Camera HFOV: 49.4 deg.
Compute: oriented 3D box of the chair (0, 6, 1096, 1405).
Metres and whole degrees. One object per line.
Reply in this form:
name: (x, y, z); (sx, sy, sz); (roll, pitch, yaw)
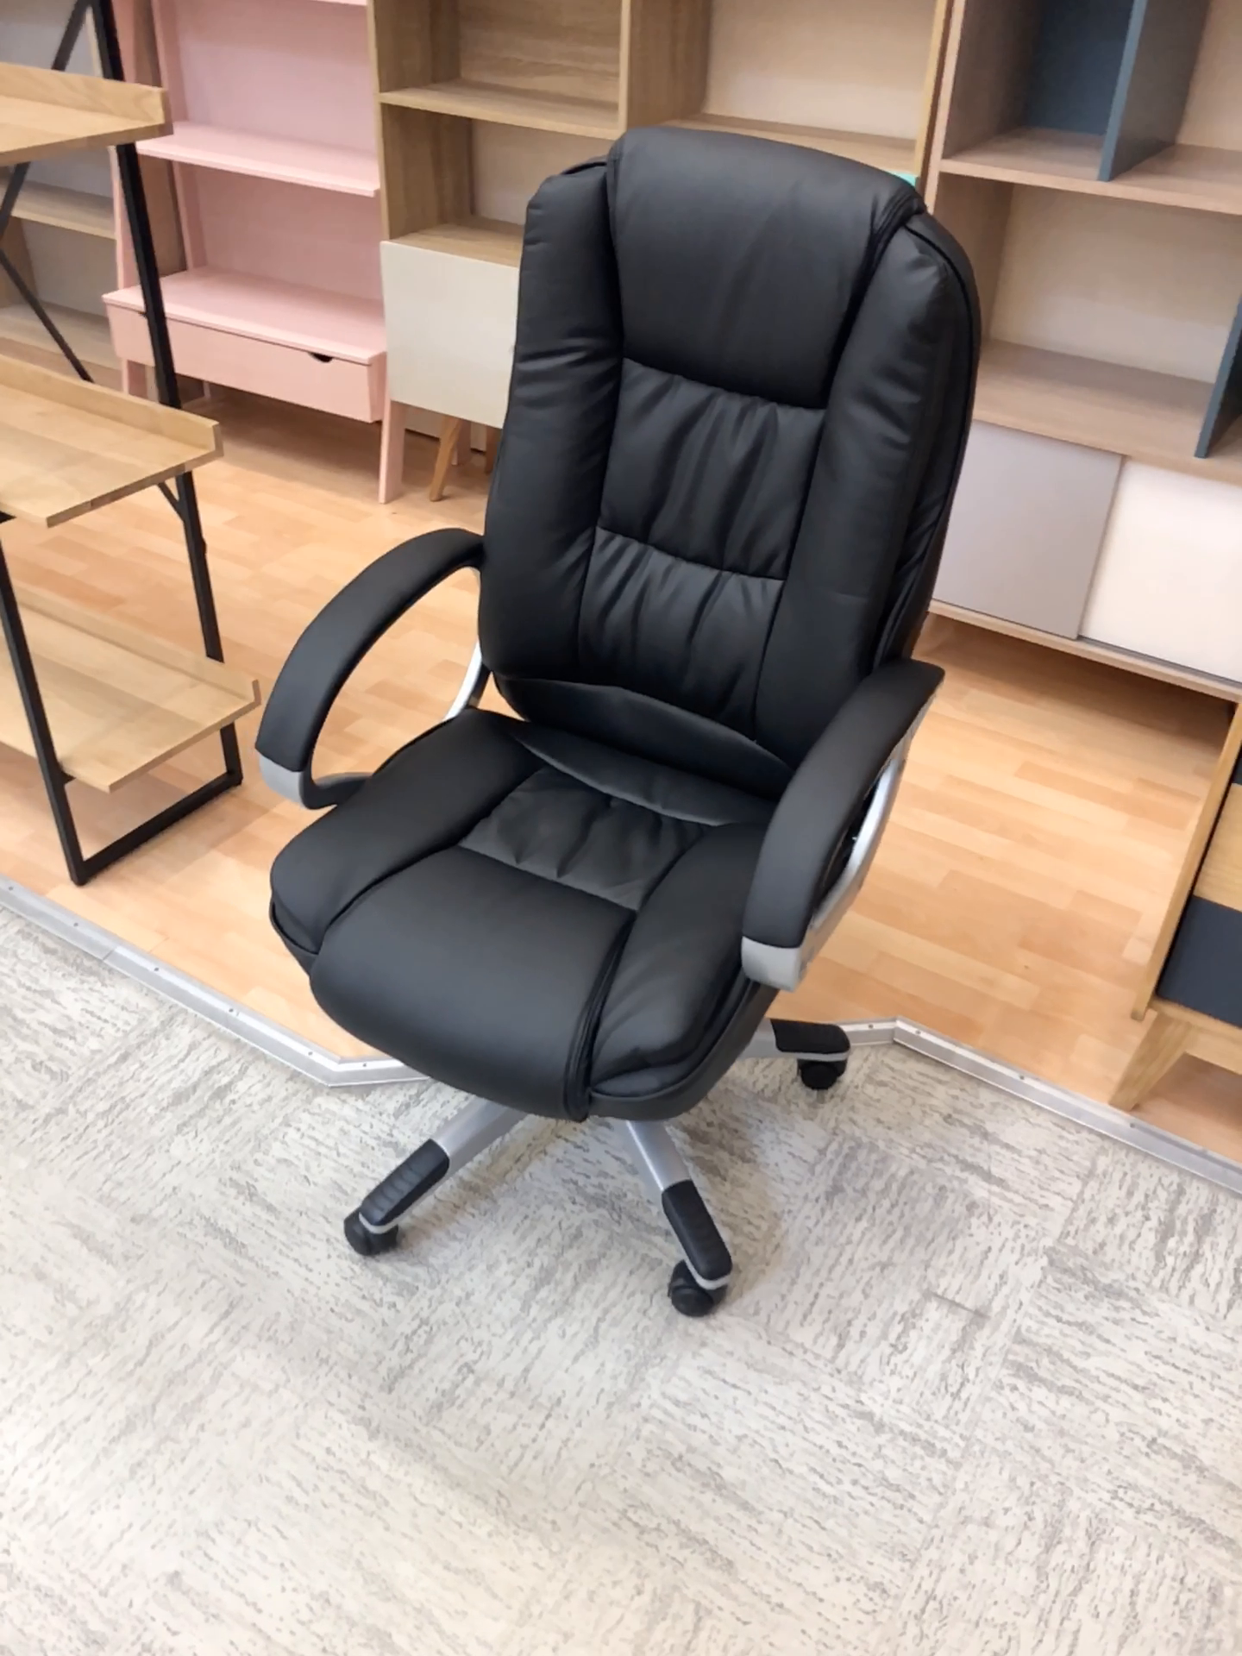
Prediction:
chair: (-0.088, -0.165, 1.365); (0.760, 1.064, 0.684); (17, 37, 19)
